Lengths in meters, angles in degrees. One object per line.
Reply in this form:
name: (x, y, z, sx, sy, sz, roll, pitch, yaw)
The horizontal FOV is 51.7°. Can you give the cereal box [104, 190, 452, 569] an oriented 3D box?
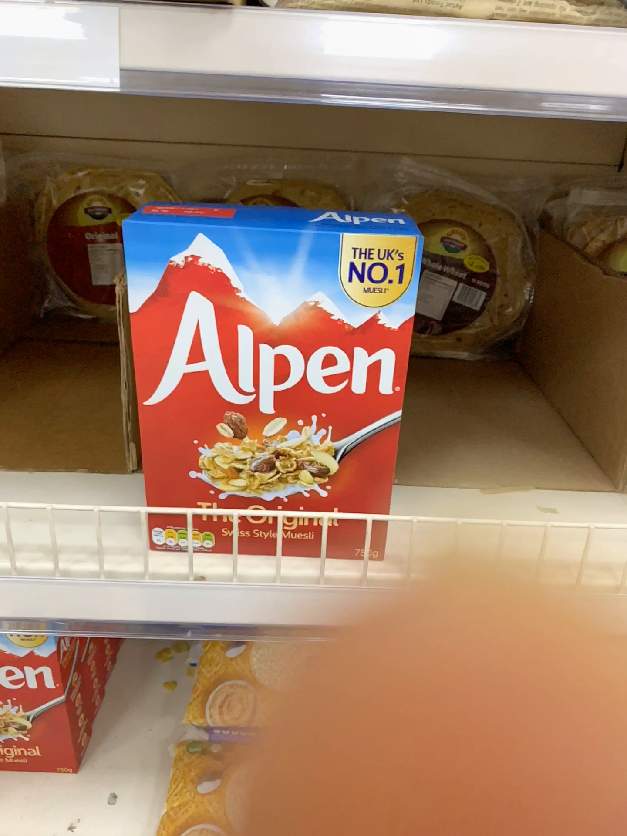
cereal box: (-0.025, -0.019, 0.436, 0.190, 0.238, 0.071, 2, 25, -2)
